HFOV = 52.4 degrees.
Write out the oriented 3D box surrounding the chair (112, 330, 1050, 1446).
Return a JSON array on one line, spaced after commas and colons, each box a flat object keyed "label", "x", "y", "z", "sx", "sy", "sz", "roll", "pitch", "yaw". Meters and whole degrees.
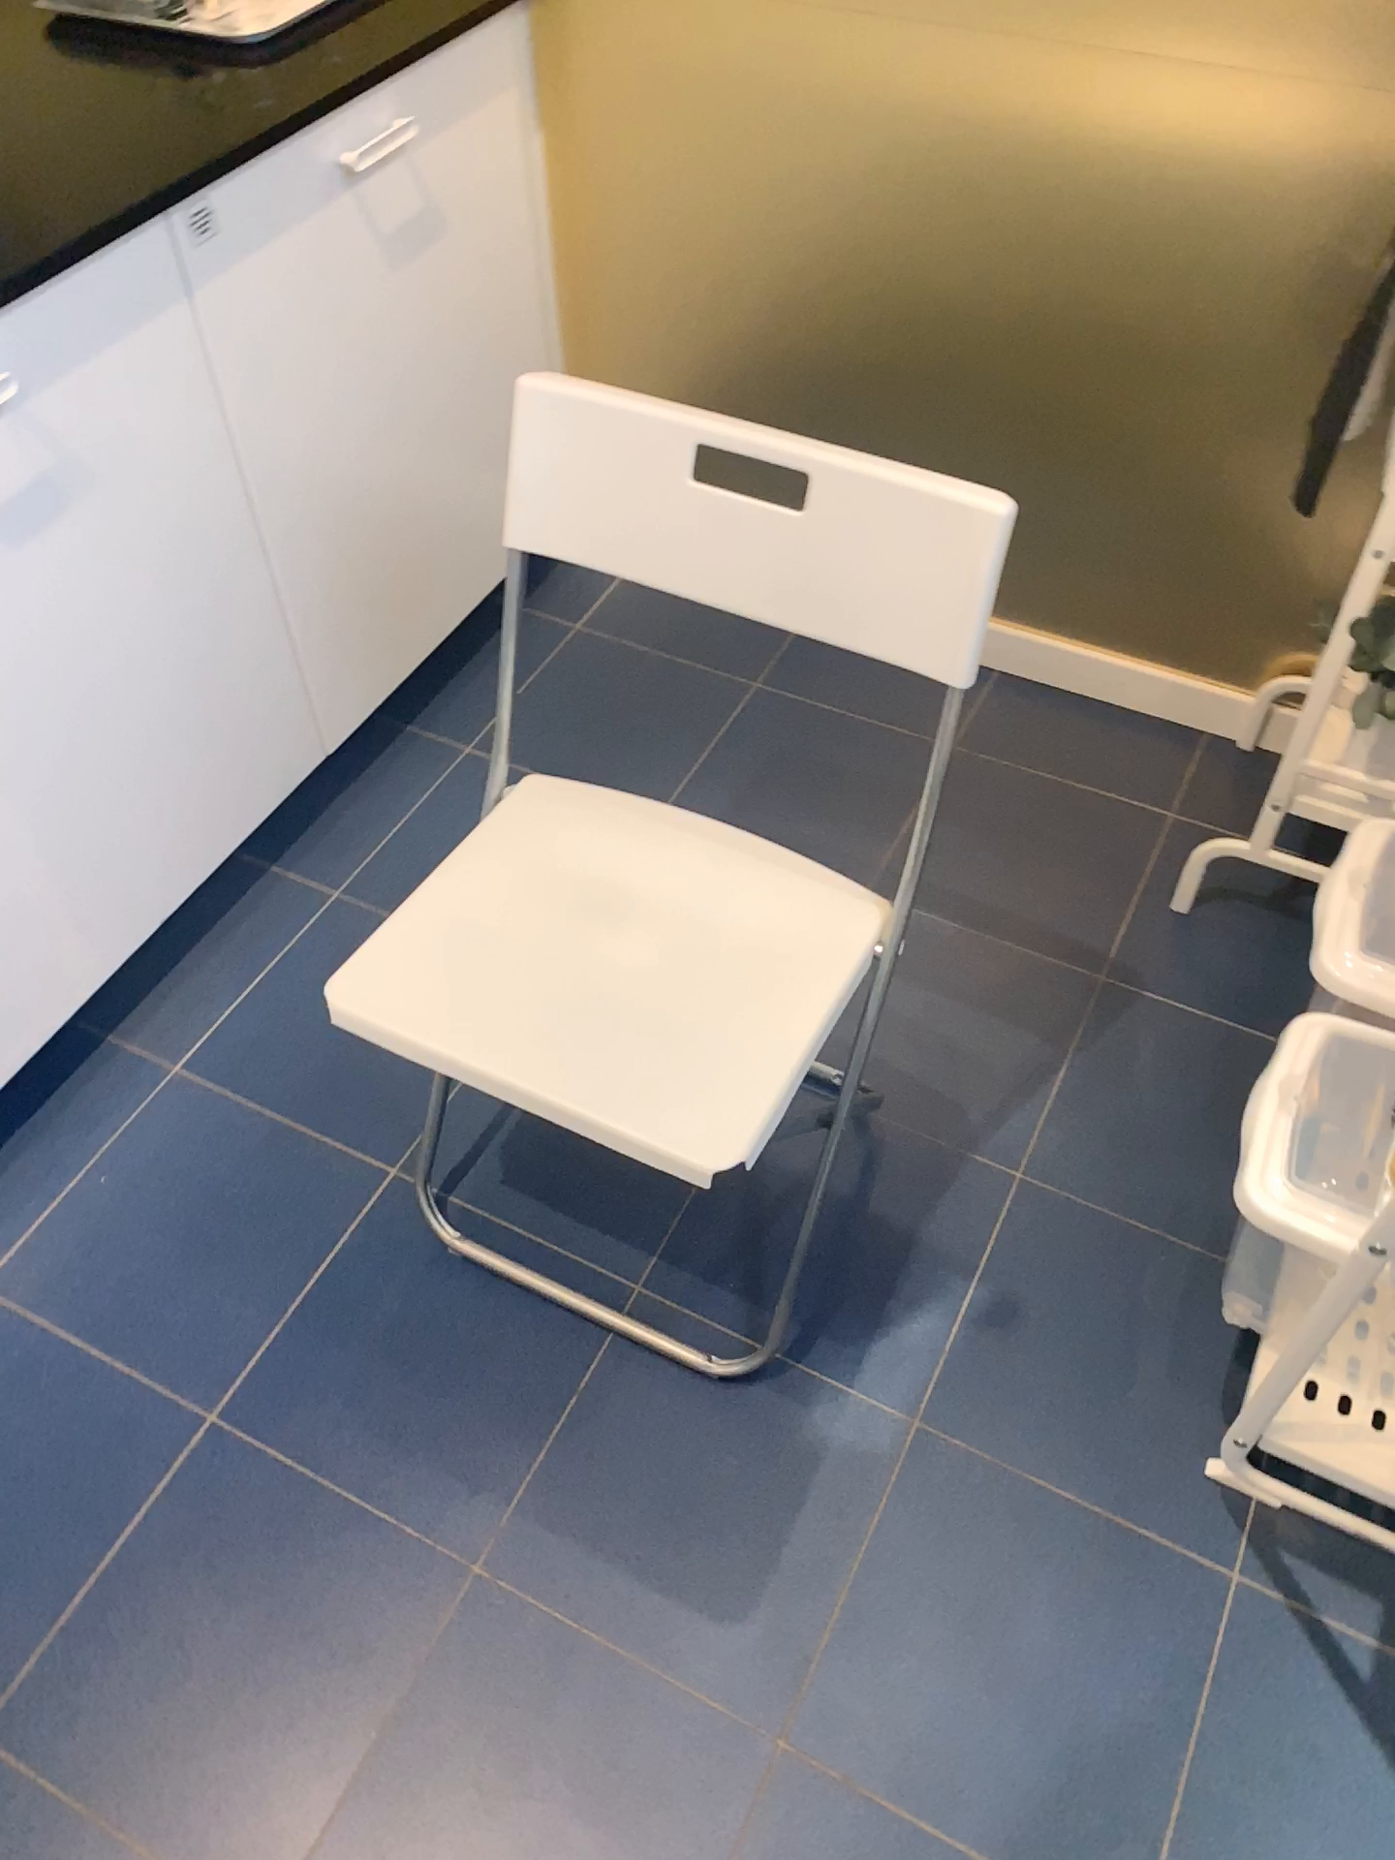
[{"label": "chair", "x": -0.051, "y": 0.002, "z": 1.180, "sx": 0.441, "sy": 0.747, "sz": 0.421, "roll": 21, "pitch": 53, "yaw": 18}]
